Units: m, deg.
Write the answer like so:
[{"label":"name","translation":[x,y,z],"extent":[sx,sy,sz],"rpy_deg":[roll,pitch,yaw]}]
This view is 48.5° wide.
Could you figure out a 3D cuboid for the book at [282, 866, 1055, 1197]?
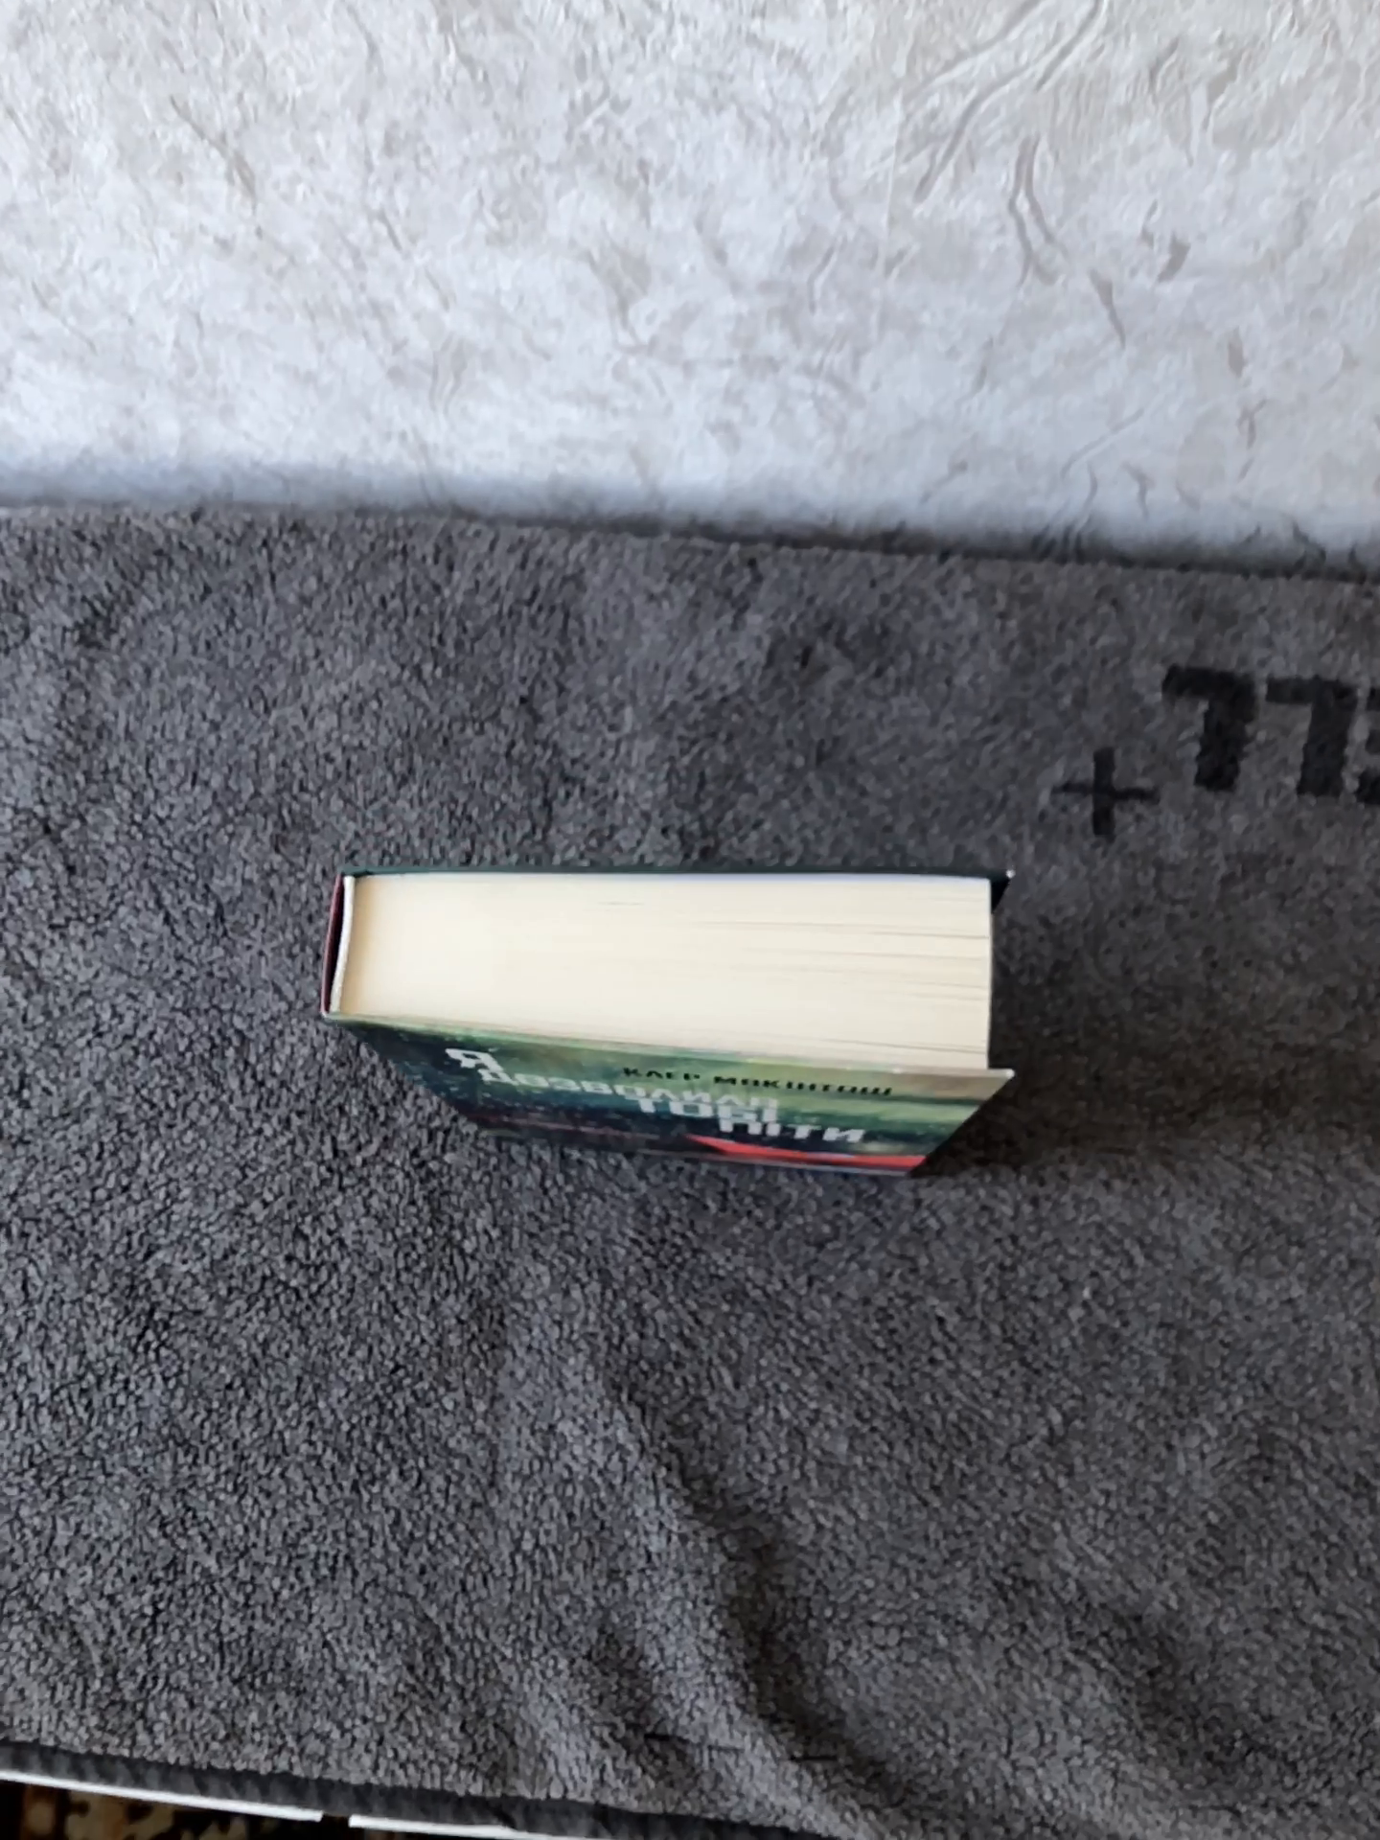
[{"label":"book","translation":[0.000,0.037,0.379],"extent":[0.139,0.202,0.044],"rpy_deg":[1,76,3]}]
